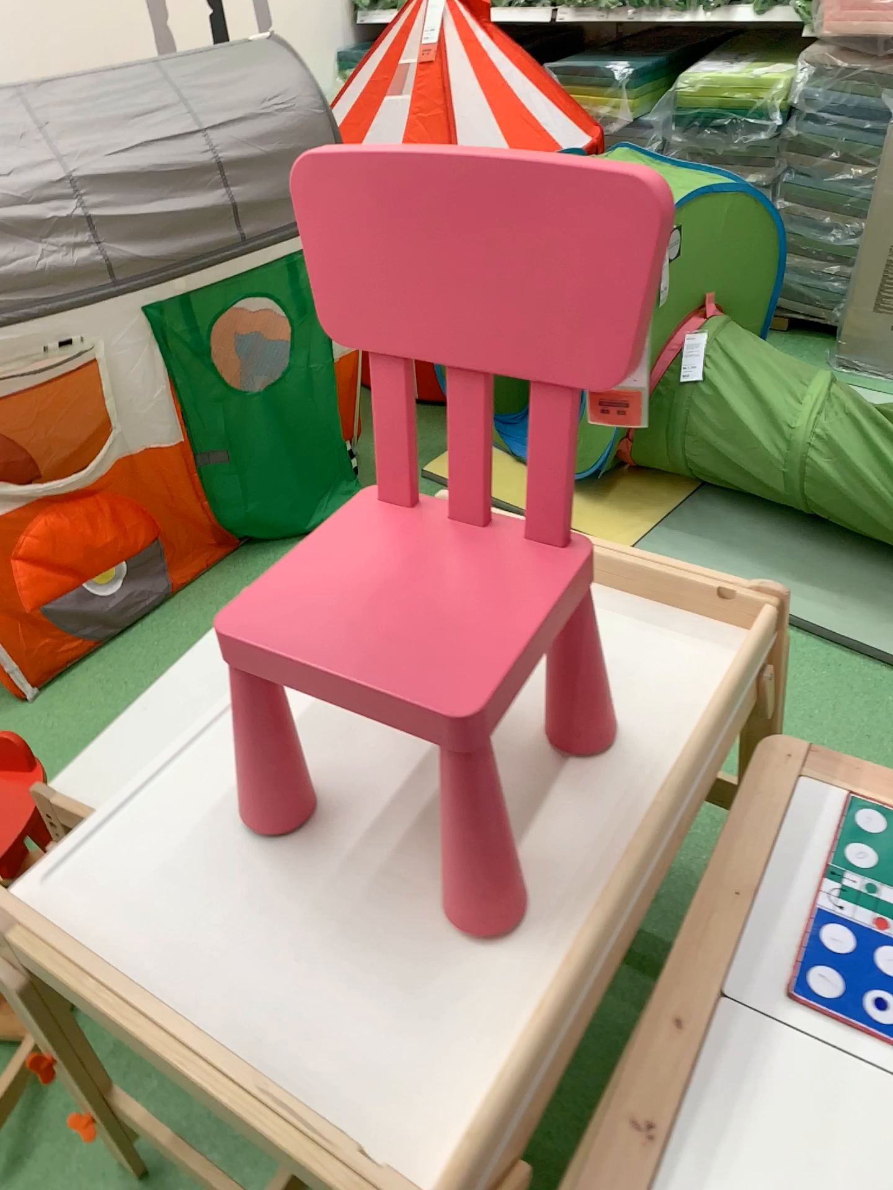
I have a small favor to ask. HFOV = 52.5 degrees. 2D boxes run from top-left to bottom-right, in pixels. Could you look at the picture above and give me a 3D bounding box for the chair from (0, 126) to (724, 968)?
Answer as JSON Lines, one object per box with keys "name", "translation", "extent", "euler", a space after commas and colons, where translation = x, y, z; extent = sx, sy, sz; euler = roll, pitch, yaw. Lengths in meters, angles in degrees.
{"name": "chair", "translation": [-0.041, -0.065, 0.866], "extent": [0.421, 0.597, 0.401], "euler": [18, 44, 27]}
